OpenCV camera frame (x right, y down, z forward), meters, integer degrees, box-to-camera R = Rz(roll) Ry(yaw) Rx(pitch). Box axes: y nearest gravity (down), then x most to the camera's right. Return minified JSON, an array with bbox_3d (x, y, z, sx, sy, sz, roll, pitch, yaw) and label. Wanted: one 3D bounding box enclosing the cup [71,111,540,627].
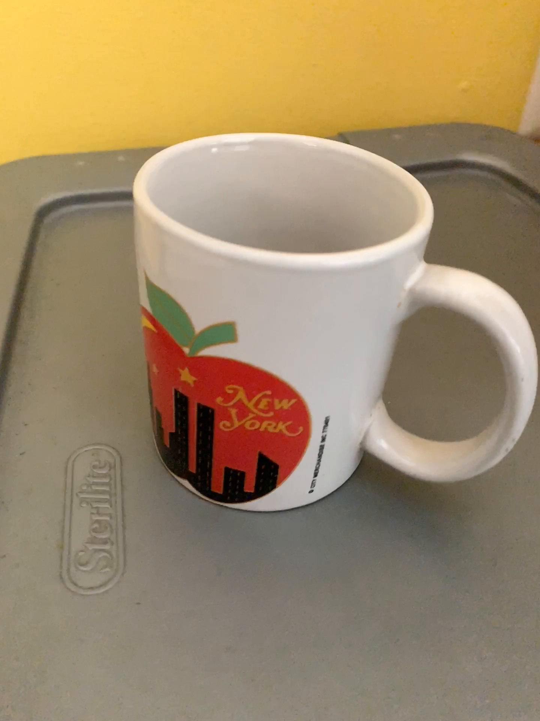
[{"bbox_3d":[0.021,-0.008,0.186,0.118,0.095,0.097,24,43,20],"label":"cup"}]
